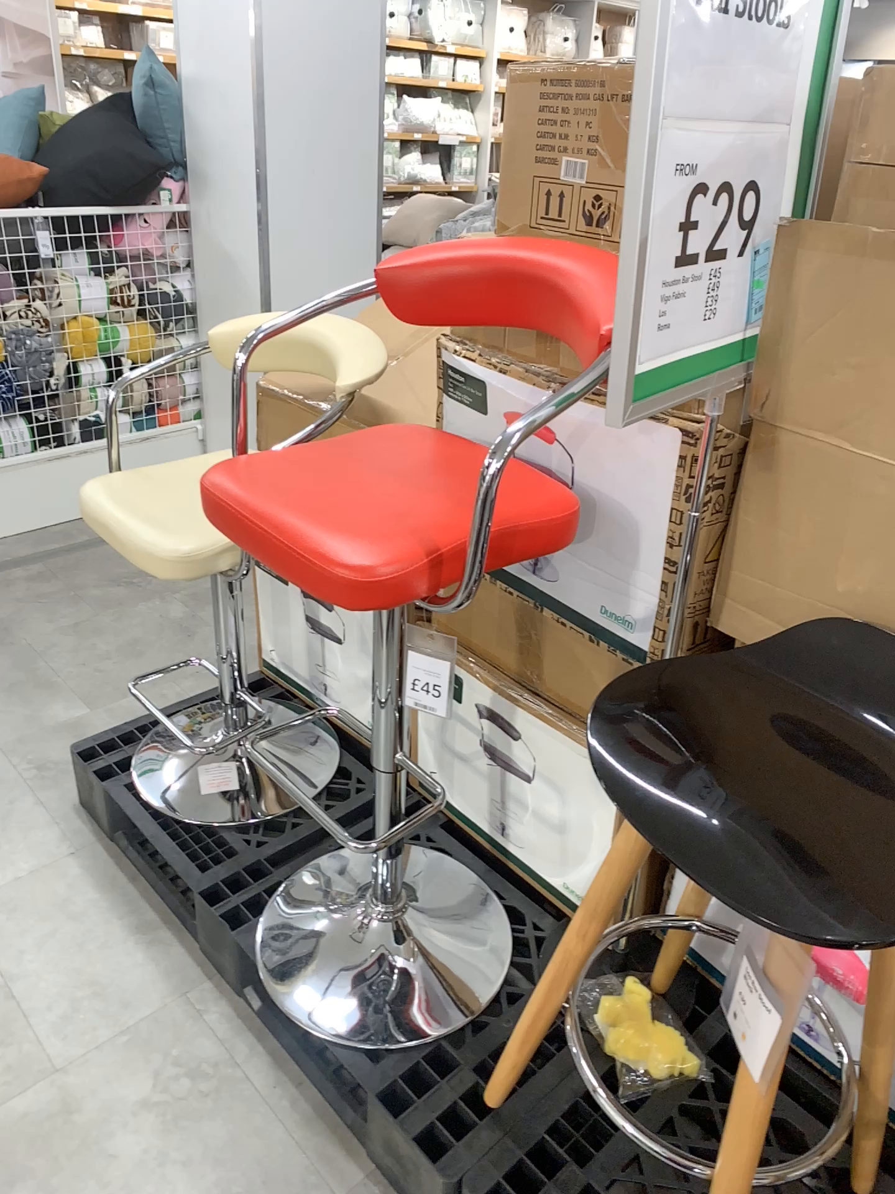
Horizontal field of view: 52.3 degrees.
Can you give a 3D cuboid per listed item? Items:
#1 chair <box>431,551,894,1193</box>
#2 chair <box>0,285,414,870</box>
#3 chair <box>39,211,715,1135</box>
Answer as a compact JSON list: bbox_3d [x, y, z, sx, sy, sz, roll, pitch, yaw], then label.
[{"bbox_3d":[0.284,0.394,1.018,0.390,0.710,0.428,-19,35,-37],"label":"chair"},{"bbox_3d":[-0.414,-0.071,1.648,0.460,0.839,0.498,-20,35,-39],"label":"chair"},{"bbox_3d":[-0.106,0.044,1.220,0.530,0.977,0.528,-20,35,-39],"label":"chair"}]
